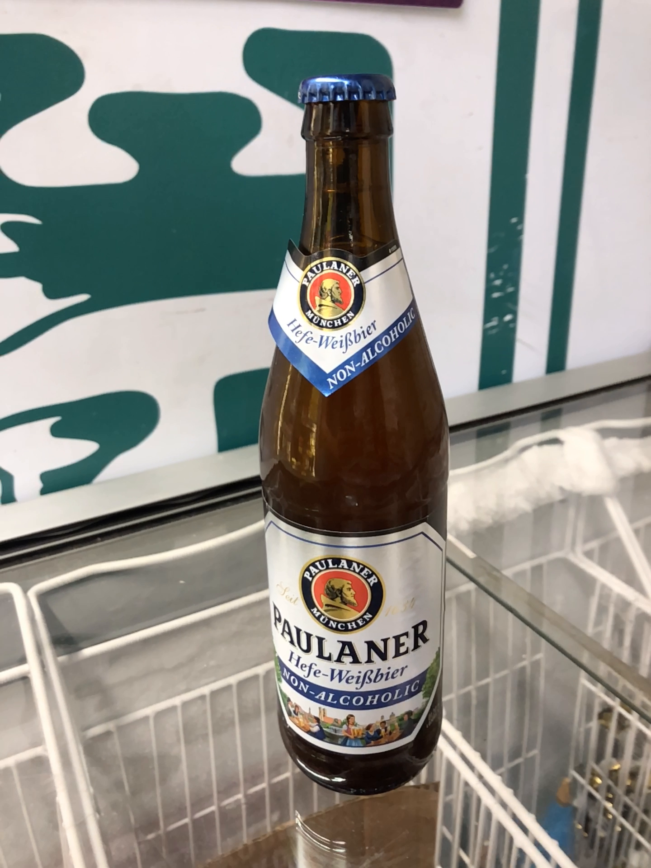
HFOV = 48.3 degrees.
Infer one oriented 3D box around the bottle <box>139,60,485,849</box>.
[{"bbox_3d":[0.005,0.015,0.250,0.080,0.248,0.070,5,23,15],"label":"bottle"}]
